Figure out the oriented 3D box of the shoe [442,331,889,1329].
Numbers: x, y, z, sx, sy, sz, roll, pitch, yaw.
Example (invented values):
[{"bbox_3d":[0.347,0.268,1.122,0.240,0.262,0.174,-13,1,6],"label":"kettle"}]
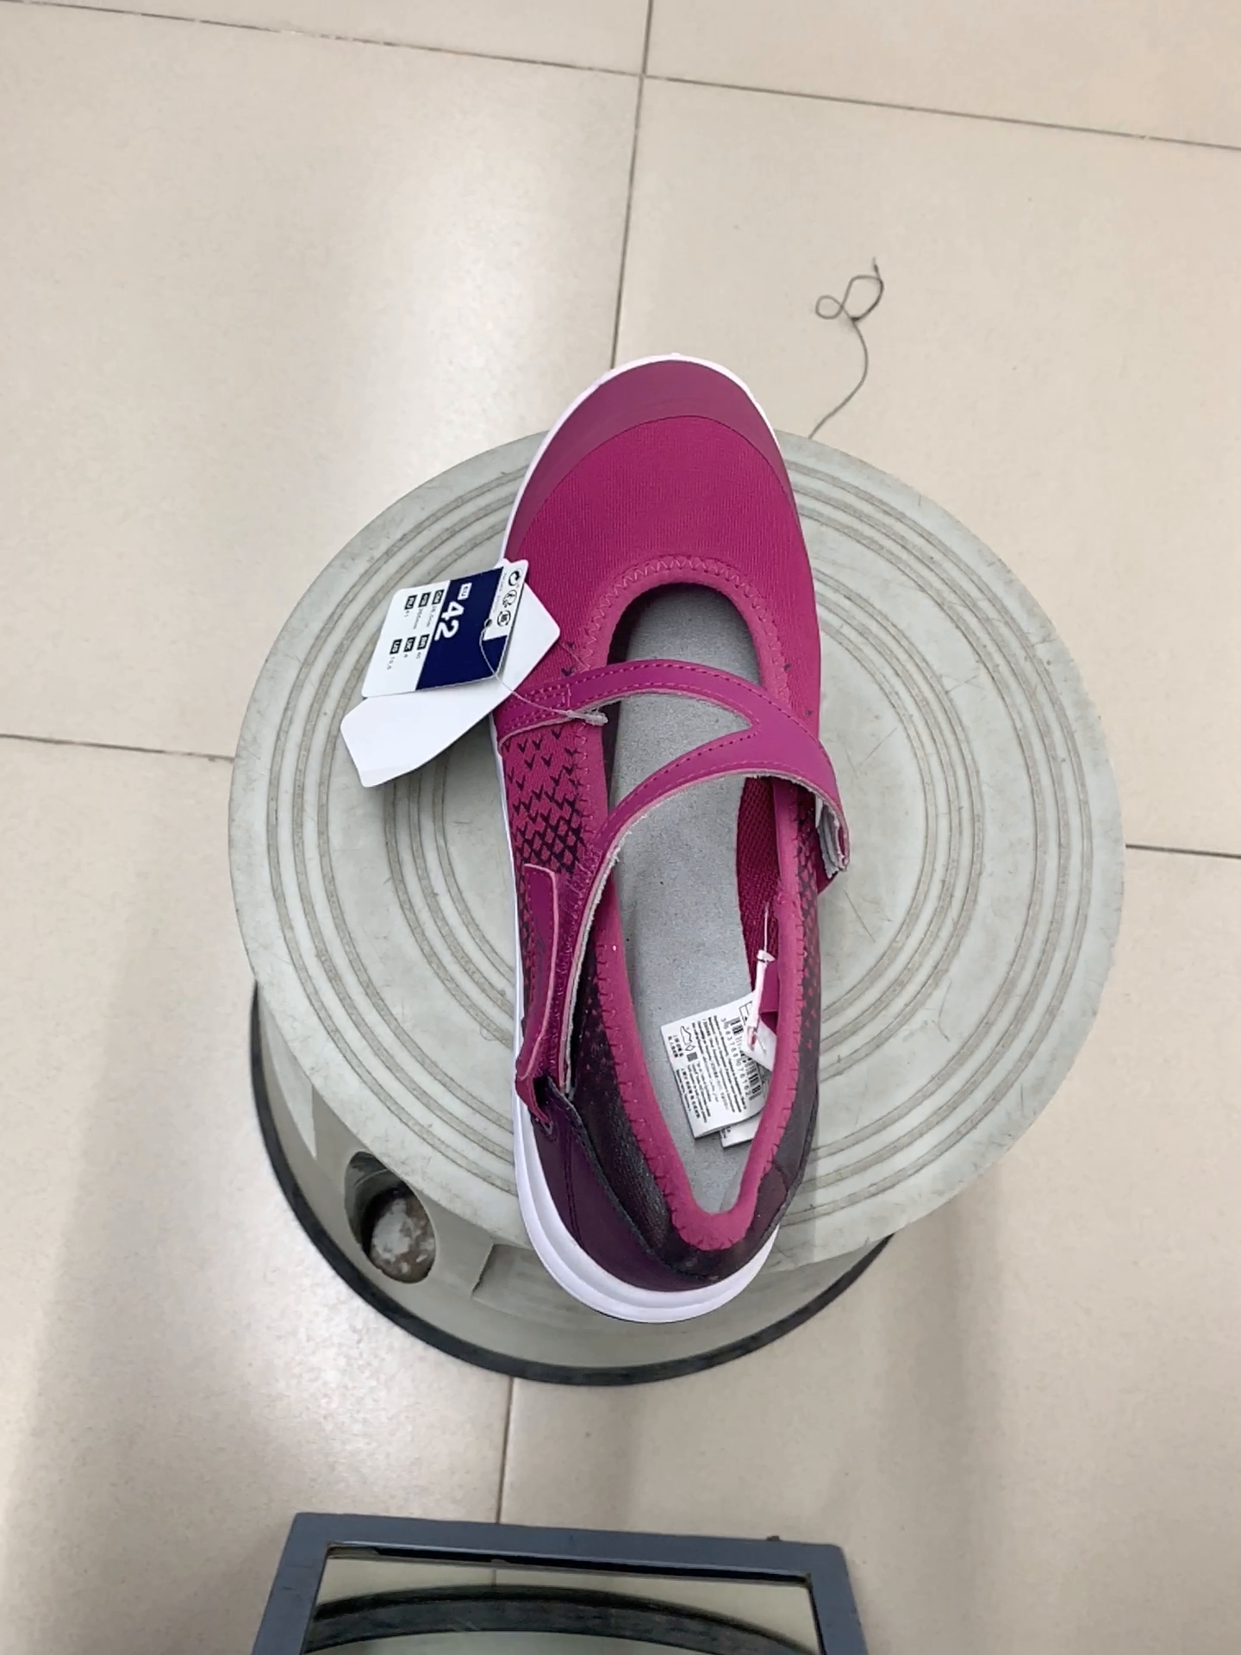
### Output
[{"bbox_3d":[0.004,-0.005,0.355,0.100,0.070,0.260,-1,73,-4],"label":"shoe"}]
